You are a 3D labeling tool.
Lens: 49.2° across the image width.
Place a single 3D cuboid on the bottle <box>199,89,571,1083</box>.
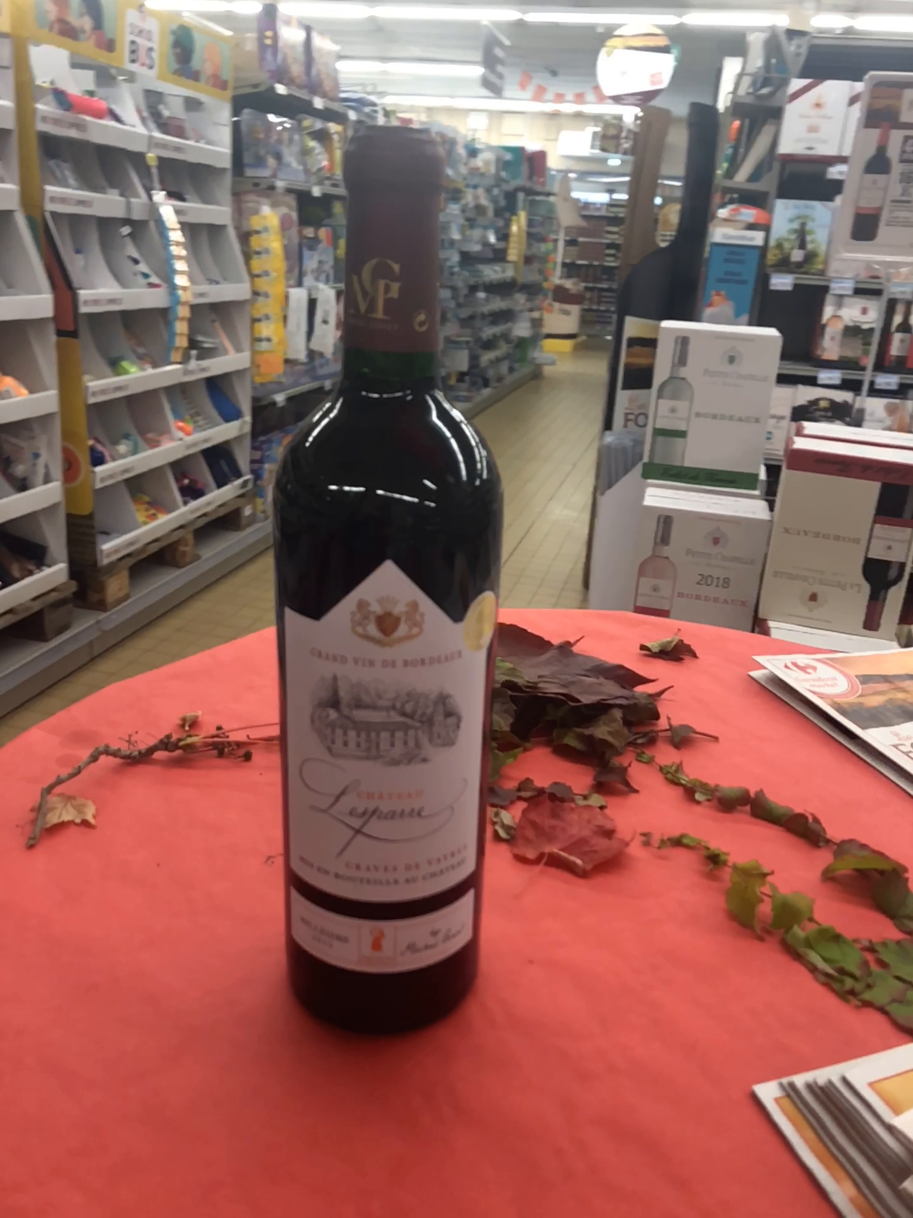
[{"bbox_3d":[-0.026,0.002,0.333,0.090,0.299,0.090,4,20,-1],"label":"bottle"}]
